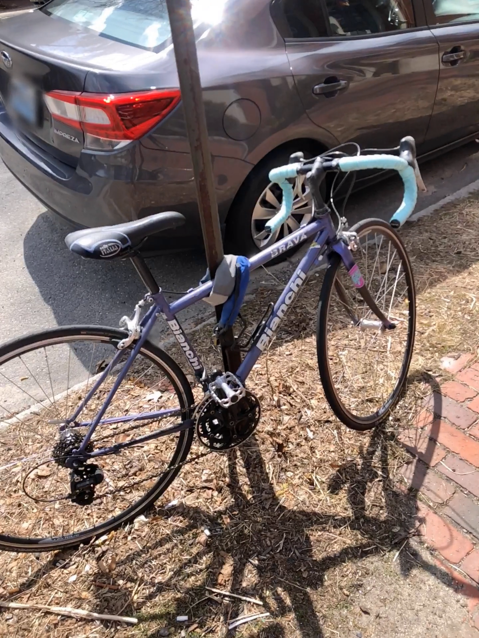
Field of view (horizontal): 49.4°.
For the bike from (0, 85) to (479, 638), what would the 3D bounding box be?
[{"bbox_3d":[-0.097,0.009,1.427,1.450,0.735,0.461,-26,38,-19],"label":"bike"}]
